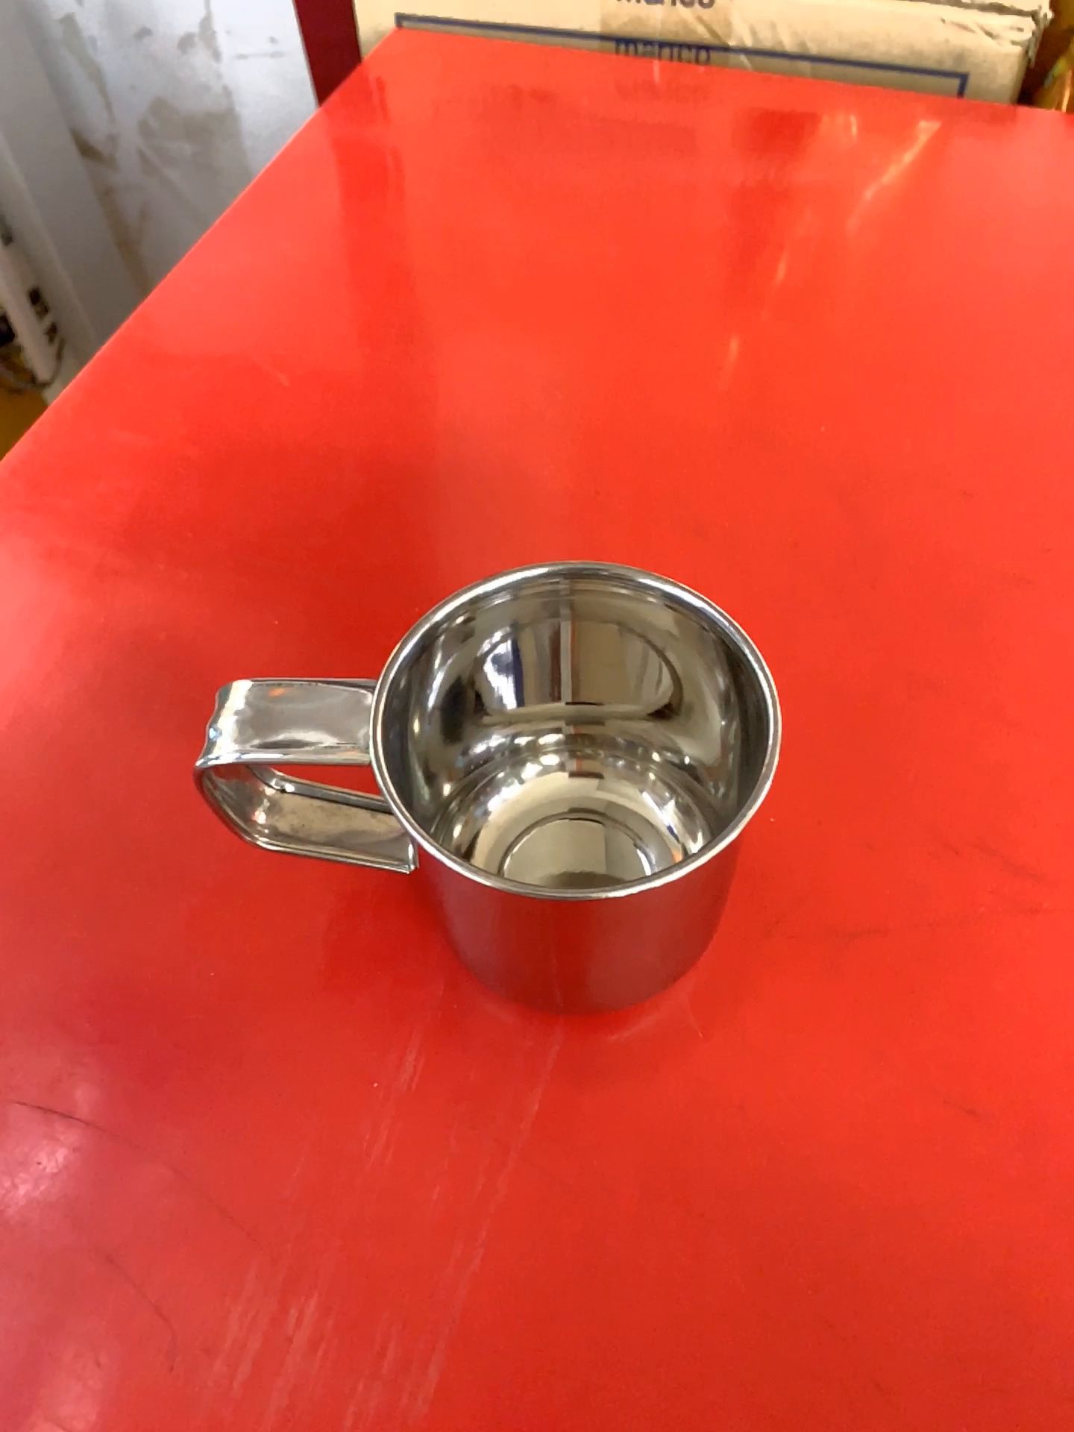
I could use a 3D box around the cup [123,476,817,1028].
[{"bbox_3d":[-0.006,0.007,0.223,0.109,0.065,0.080,4,56,6],"label":"cup"}]
